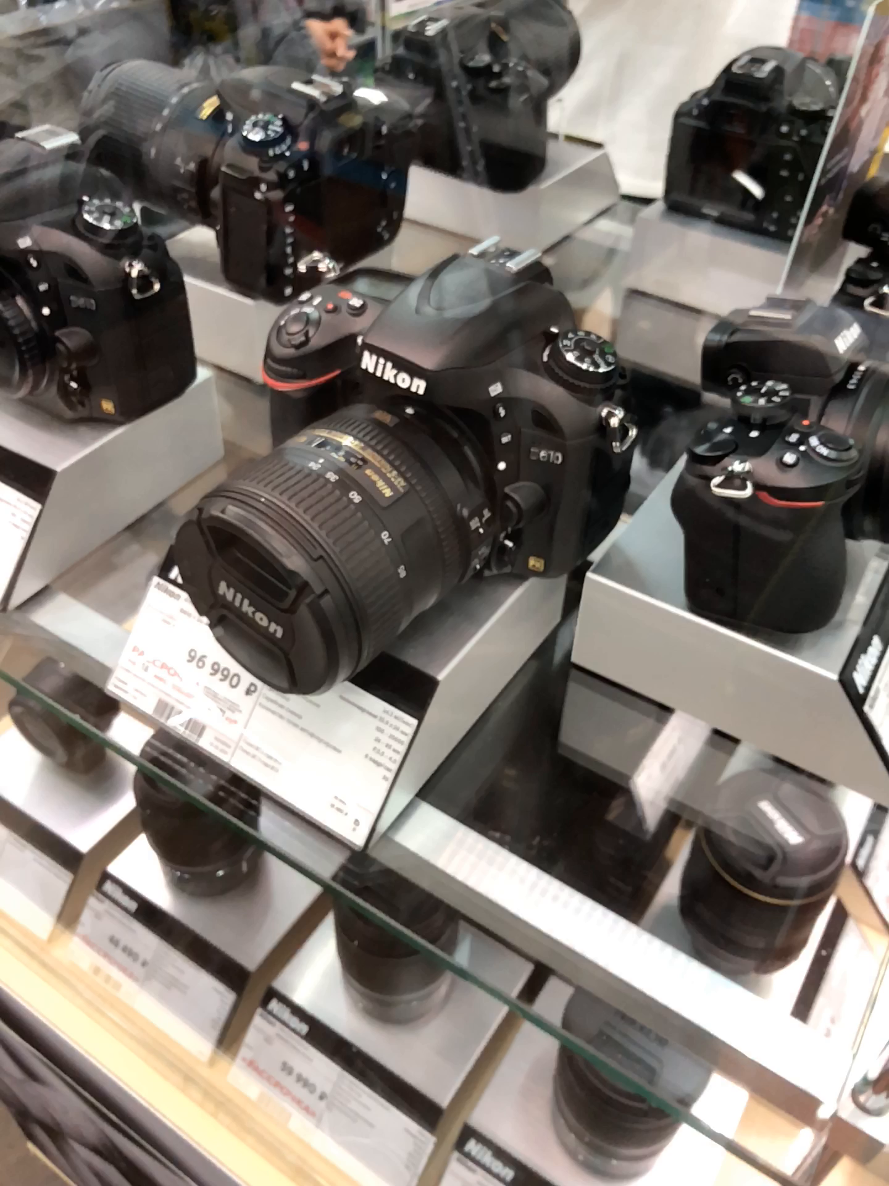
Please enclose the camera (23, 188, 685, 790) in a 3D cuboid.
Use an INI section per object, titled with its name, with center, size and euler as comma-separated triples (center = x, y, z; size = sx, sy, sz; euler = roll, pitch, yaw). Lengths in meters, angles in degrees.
[camera]
center = -0.028, -0.050, 0.352
size = 0.148, 0.109, 0.151
euler = 31, 49, 28
